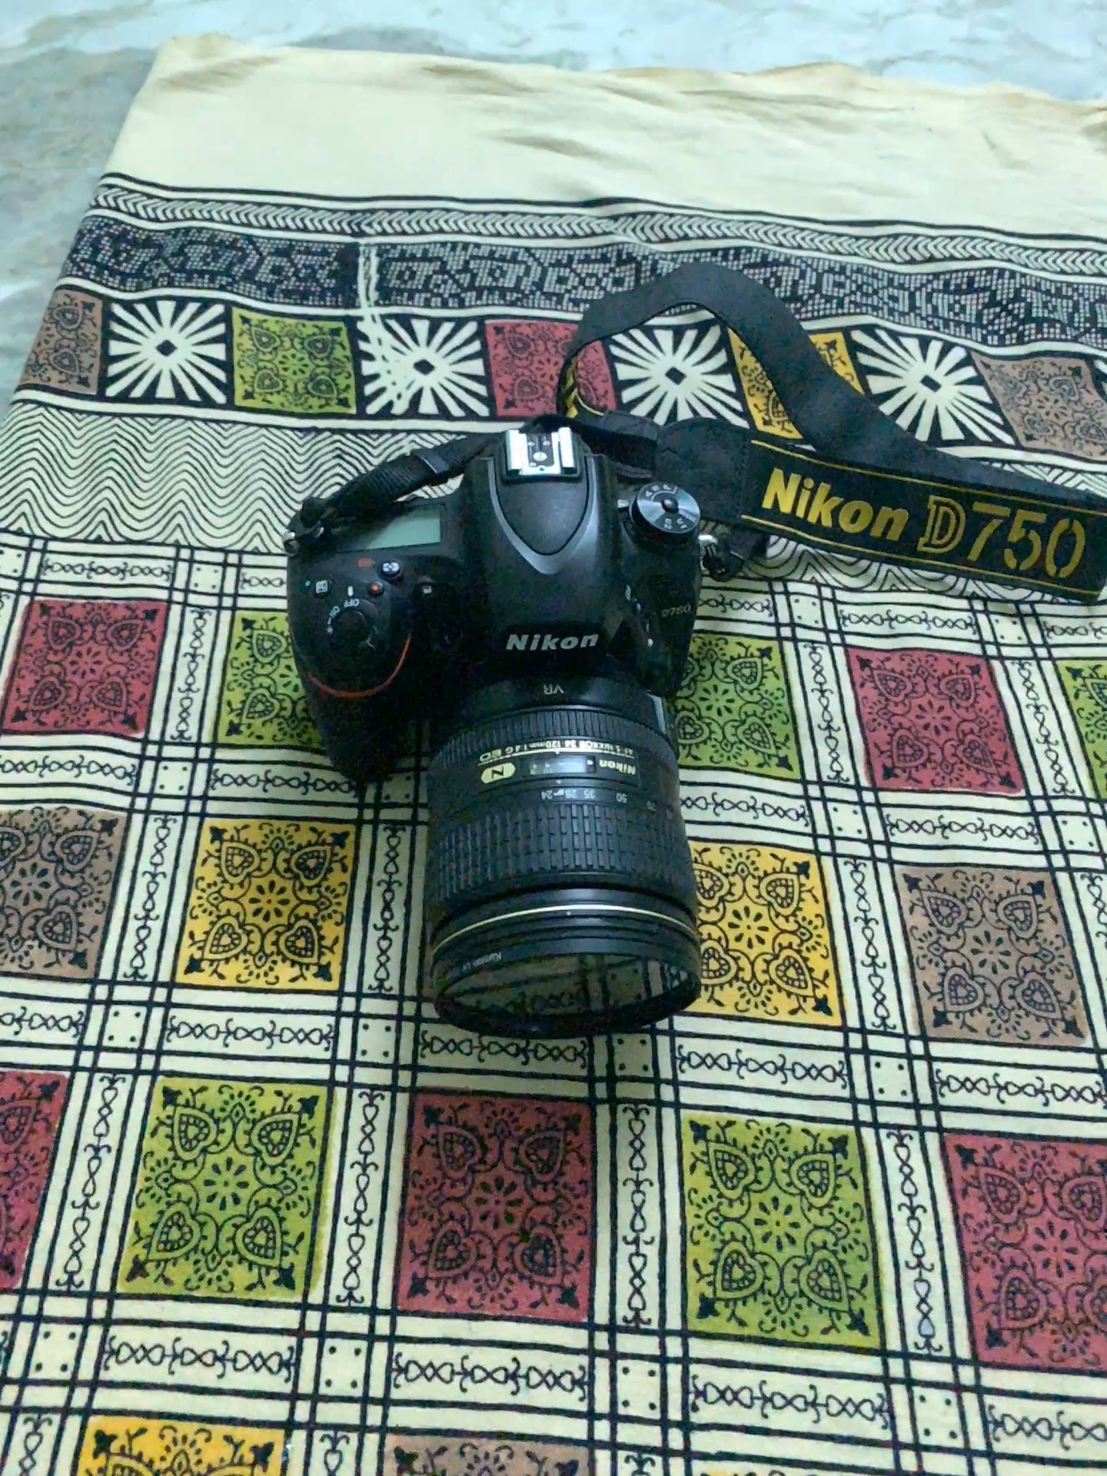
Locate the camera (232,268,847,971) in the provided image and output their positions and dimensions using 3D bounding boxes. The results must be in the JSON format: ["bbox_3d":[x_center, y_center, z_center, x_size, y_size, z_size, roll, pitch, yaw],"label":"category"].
[{"bbox_3d":[-0.009,-0.040,0.351,0.140,0.100,0.190,-2,58,-2],"label":"camera"}]
